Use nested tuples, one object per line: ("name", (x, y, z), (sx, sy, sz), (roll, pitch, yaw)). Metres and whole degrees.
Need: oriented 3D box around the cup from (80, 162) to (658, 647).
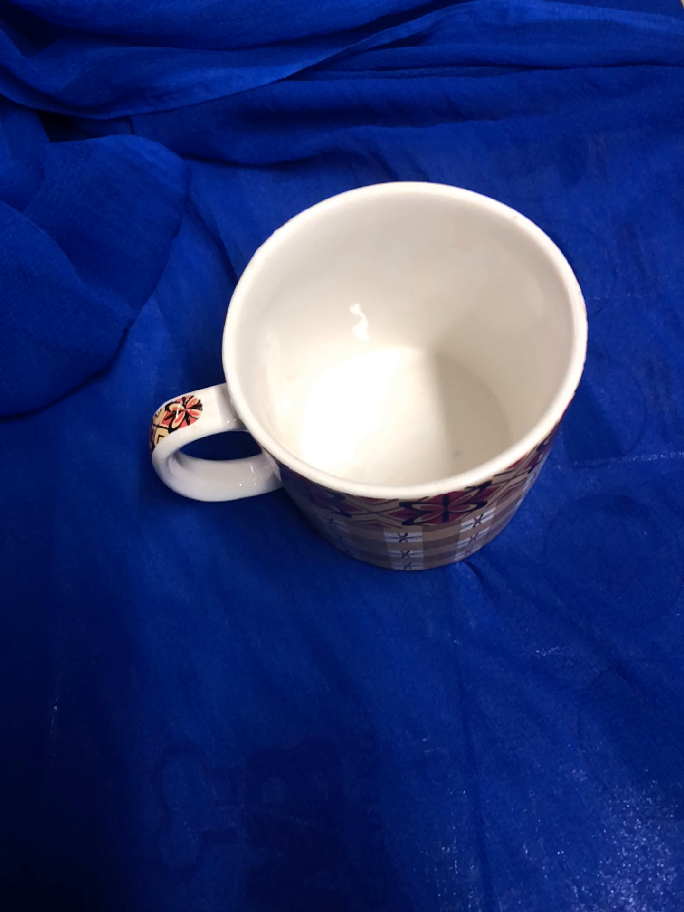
("cup", (0.003, -0.003, 0.197), (0.100, 0.100, 0.070), (-12, 69, -3))
